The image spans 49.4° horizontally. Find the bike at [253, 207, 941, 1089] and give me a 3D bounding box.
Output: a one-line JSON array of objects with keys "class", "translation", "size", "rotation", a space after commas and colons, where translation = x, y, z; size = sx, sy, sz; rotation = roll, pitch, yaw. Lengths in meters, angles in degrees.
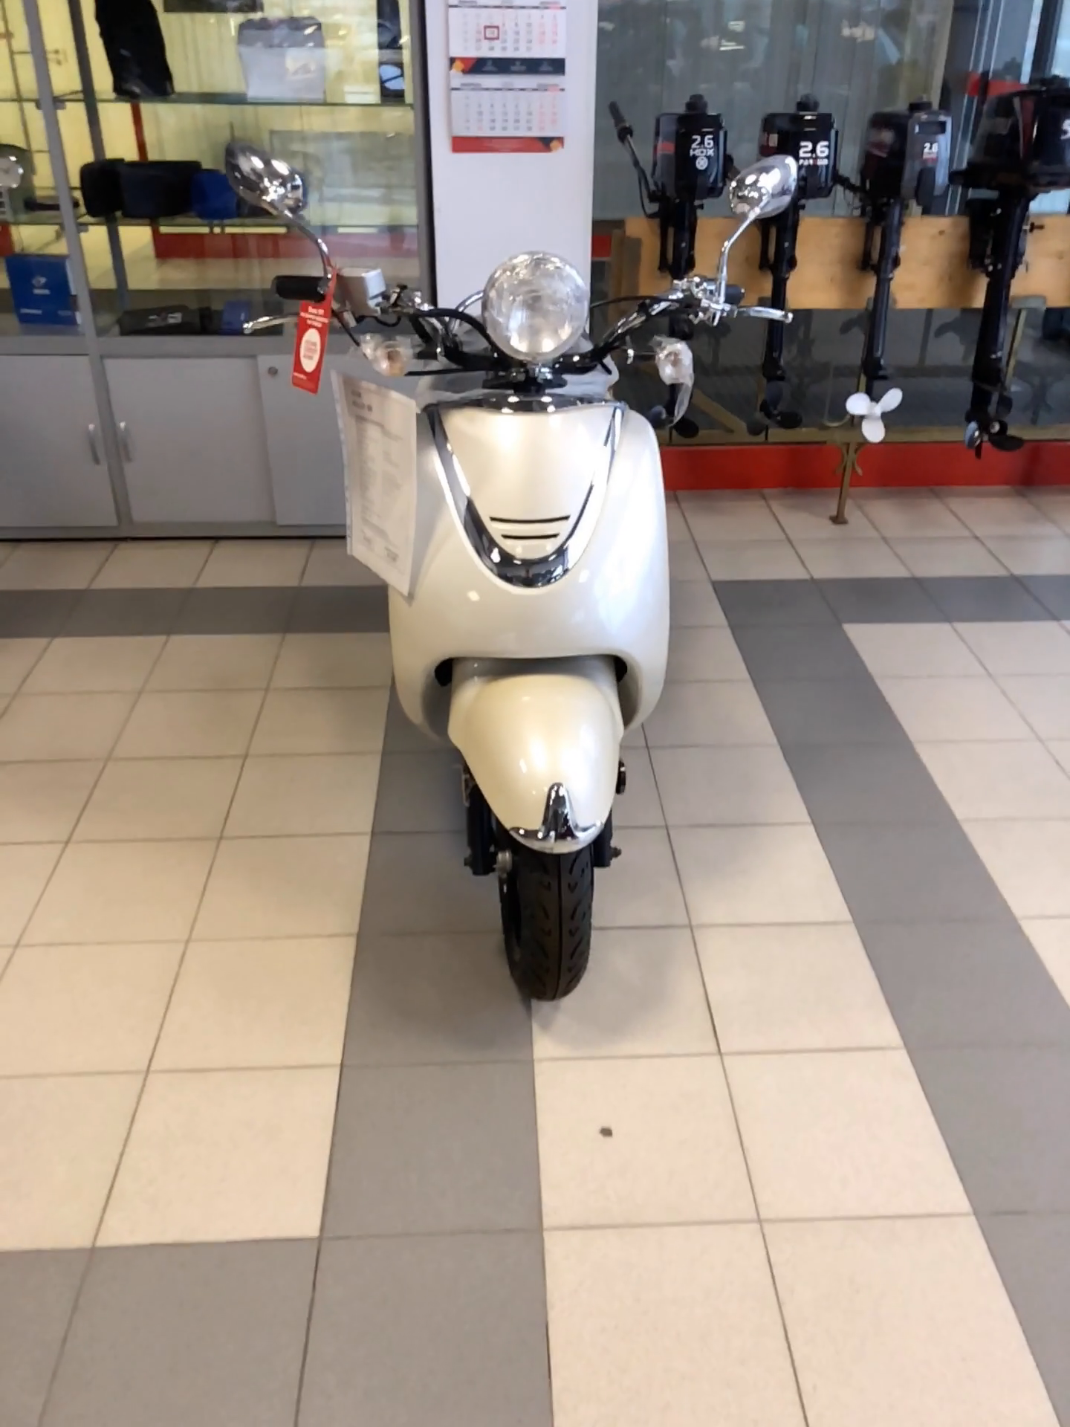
[{"class": "bike", "translation": [0.032, -0.306, 2.297], "size": [0.804, 0.963, 1.692], "rotation": [-1, 33, -2]}]
